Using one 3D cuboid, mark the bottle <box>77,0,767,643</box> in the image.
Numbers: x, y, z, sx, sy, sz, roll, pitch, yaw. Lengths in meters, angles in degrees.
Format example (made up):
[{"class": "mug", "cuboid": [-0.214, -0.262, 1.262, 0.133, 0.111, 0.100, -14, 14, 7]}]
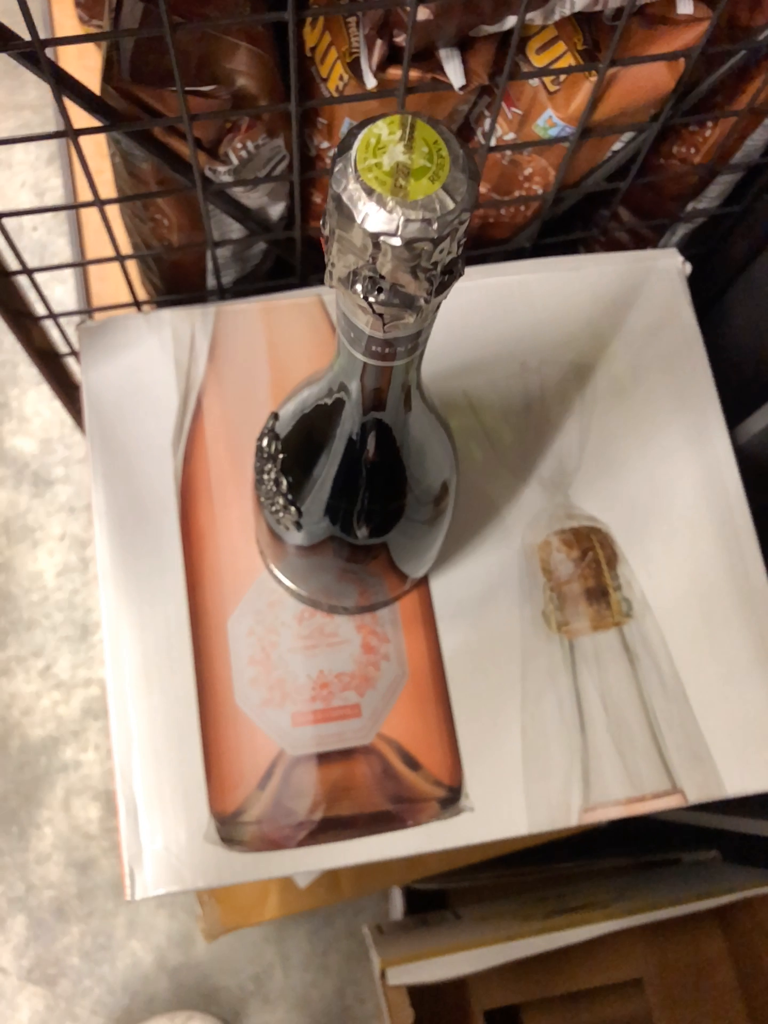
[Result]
[{"class": "bottle", "cuboid": [-0.006, -0.047, 0.336, 0.110, 0.333, 0.122, -18, 76, -10]}]
